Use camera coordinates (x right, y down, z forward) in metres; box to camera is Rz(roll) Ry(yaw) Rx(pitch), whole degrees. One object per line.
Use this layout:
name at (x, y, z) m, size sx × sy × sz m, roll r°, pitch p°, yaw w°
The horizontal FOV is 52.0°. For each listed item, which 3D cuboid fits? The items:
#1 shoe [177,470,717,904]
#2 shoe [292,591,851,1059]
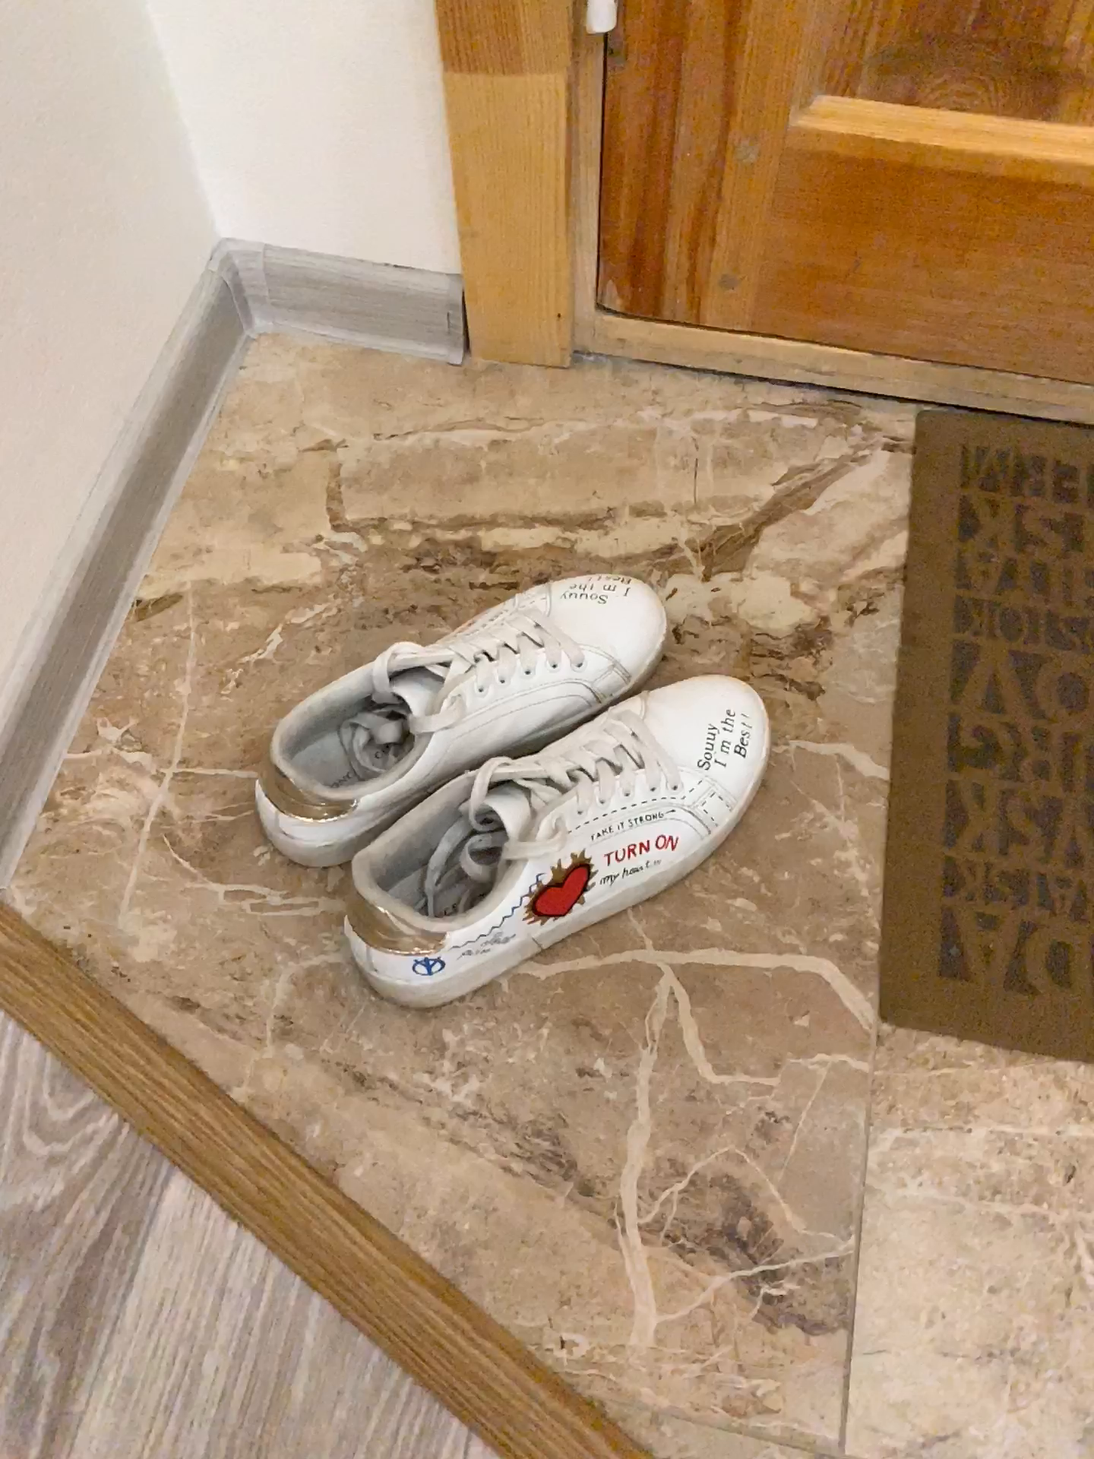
shoe at (-0.046, -0.025, 0.591) m, size 0.256 × 0.080 × 0.092 m, roll -30°, pitch 66°, yaw -14°
shoe at (0.015, 0.045, 0.564) m, size 0.256 × 0.080 × 0.092 m, roll -31°, pitch 66°, yaw -15°
